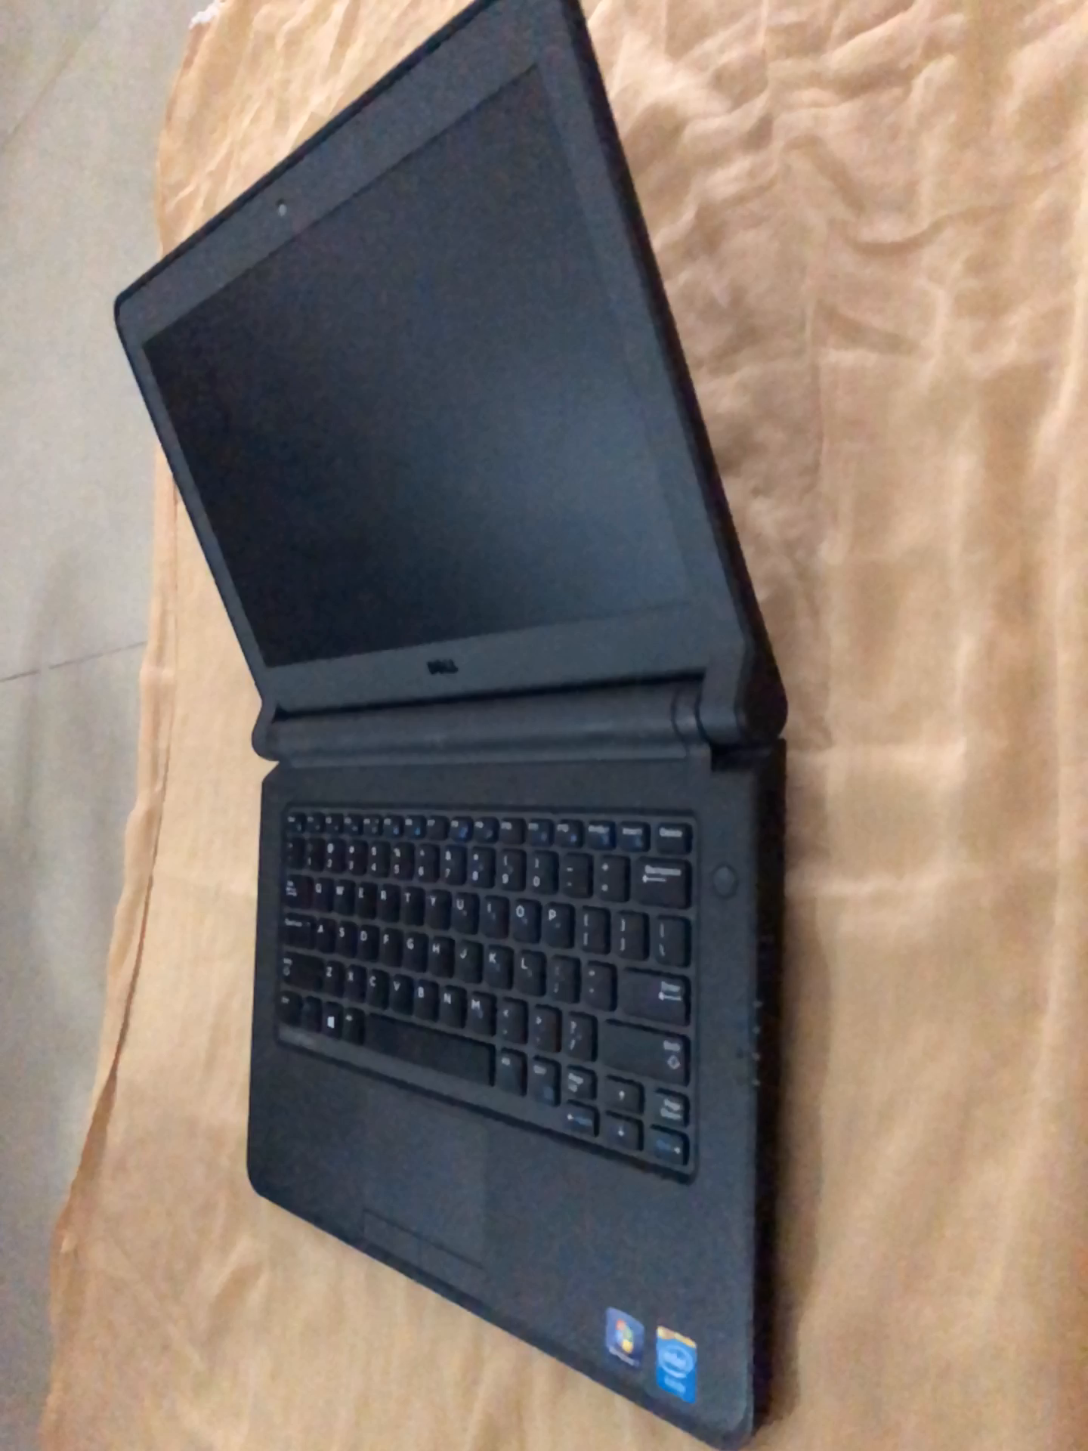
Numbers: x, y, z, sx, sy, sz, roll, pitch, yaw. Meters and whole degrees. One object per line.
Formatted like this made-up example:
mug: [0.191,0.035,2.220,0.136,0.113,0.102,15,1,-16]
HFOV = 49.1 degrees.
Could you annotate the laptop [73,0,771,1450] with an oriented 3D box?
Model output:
laptop: [-0.068,0.007,0.454,0.310,0.092,0.409,-4,83,49]
